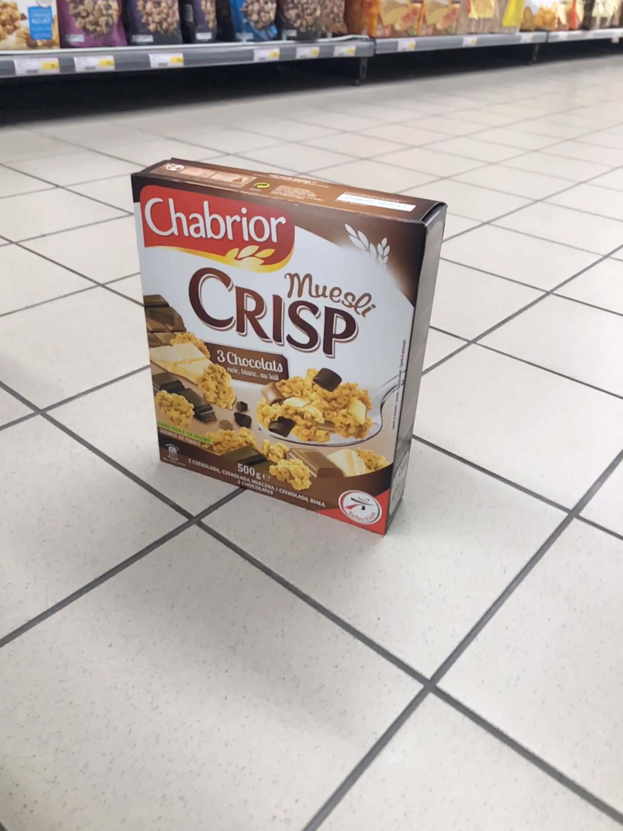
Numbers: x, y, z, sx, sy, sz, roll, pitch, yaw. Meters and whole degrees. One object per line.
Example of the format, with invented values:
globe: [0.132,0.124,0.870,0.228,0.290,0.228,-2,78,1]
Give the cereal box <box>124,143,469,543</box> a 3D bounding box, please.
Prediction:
cereal box: [-0.017,-0.048,0.470,0.200,0.229,0.060,16,34,19]
